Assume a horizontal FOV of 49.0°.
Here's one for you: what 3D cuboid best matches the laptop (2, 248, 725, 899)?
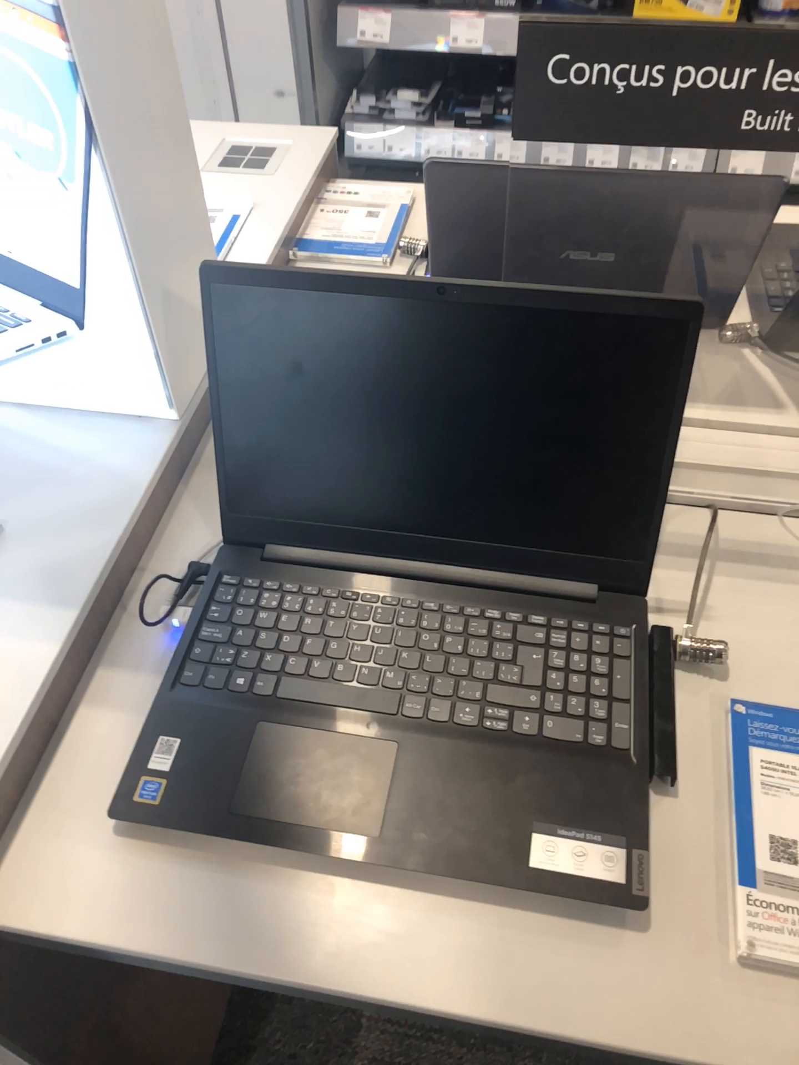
[{"bbox_3d":[0.004,0.010,0.586,0.345,0.213,0.323,7,51,8],"label":"laptop"}]
